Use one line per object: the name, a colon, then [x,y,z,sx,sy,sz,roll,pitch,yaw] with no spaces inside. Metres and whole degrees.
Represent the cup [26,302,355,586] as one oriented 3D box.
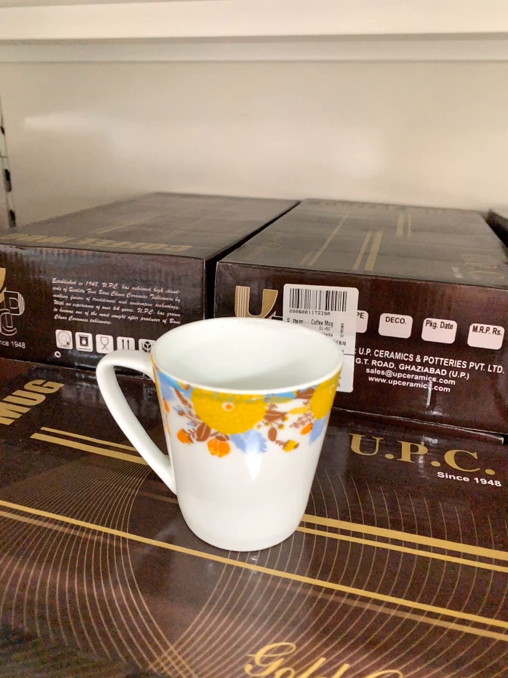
cup: [-0.017,0.029,0.190,0.092,0.058,0.068,8,22,15]
